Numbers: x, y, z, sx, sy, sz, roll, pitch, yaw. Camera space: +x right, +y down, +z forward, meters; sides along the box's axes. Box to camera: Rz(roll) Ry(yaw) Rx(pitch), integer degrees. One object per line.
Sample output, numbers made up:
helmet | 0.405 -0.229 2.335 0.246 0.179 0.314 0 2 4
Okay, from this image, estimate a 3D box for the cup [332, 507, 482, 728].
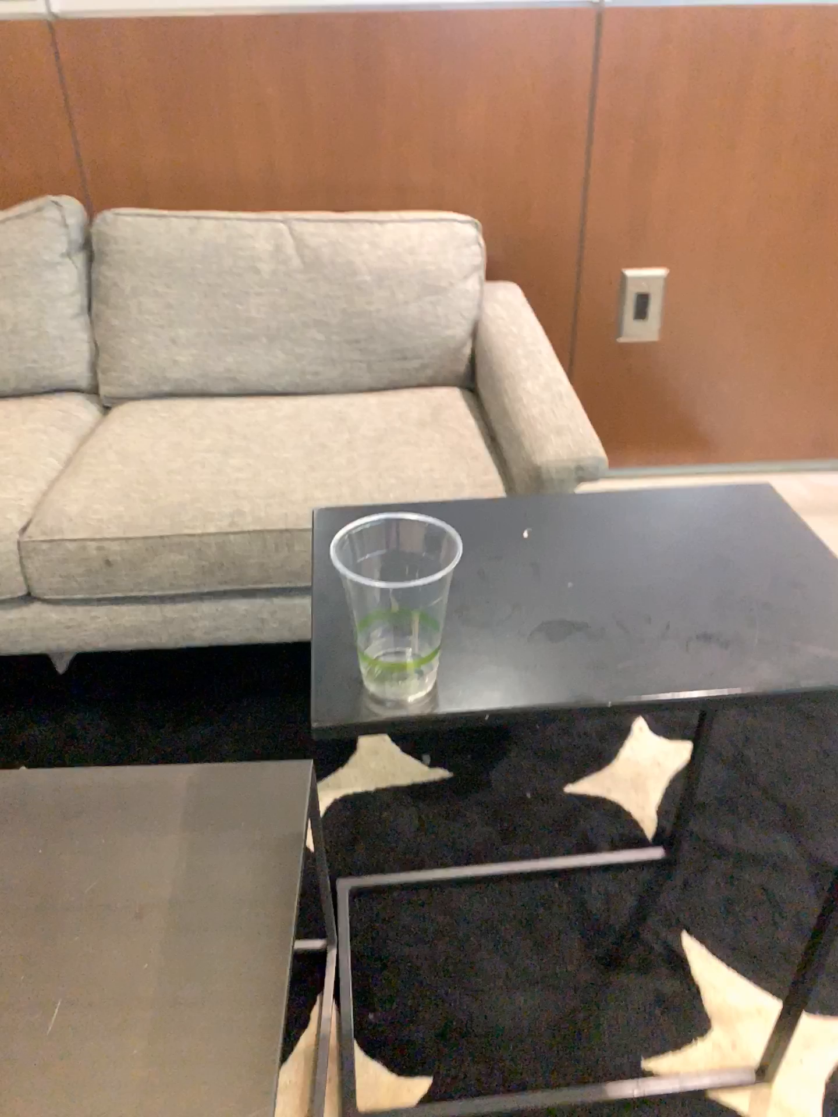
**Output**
cup | -0.008 0.044 0.651 0.100 0.129 0.101 -1 33 0
